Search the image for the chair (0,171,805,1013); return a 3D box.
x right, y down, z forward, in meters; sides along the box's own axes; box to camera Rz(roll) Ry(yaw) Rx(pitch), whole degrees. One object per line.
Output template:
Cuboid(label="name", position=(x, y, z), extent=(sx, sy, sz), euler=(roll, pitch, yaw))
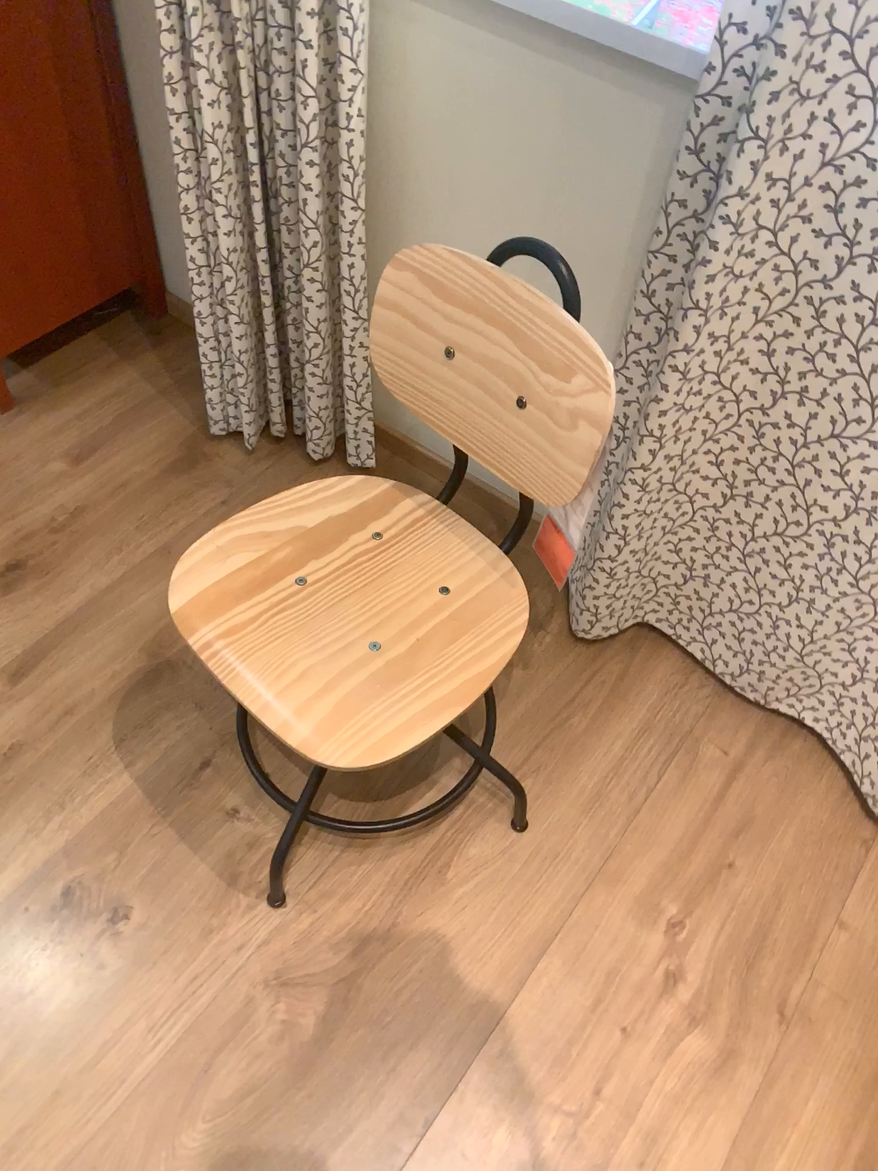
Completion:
Cuboid(label="chair", position=(-0.061, 0.002, 1.051), extent=(0.491, 0.598, 0.631), euler=(40, 59, 23))
